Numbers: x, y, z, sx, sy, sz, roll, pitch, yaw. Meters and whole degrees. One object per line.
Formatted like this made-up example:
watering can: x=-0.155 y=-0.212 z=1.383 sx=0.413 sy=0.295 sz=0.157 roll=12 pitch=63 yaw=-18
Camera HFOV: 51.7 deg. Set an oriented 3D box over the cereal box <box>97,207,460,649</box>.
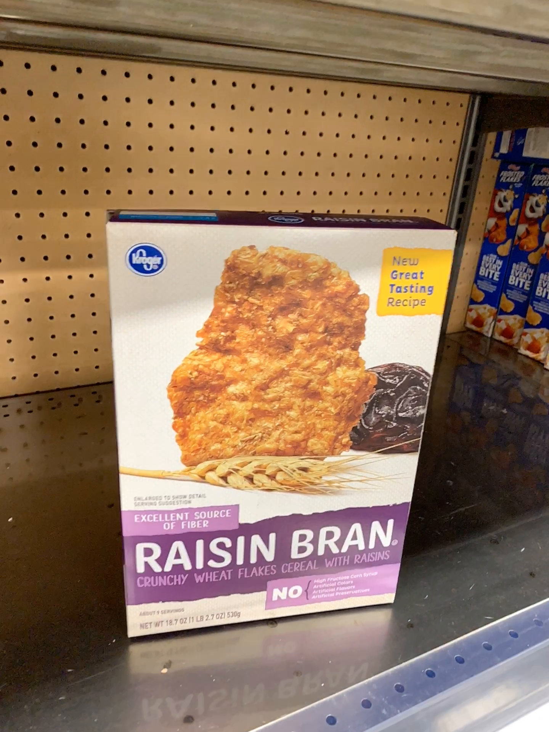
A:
cereal box: x=-0.004 y=0.043 z=0.360 sx=0.190 sy=0.269 sz=0.050 roll=-2 pitch=22 yaw=-14
